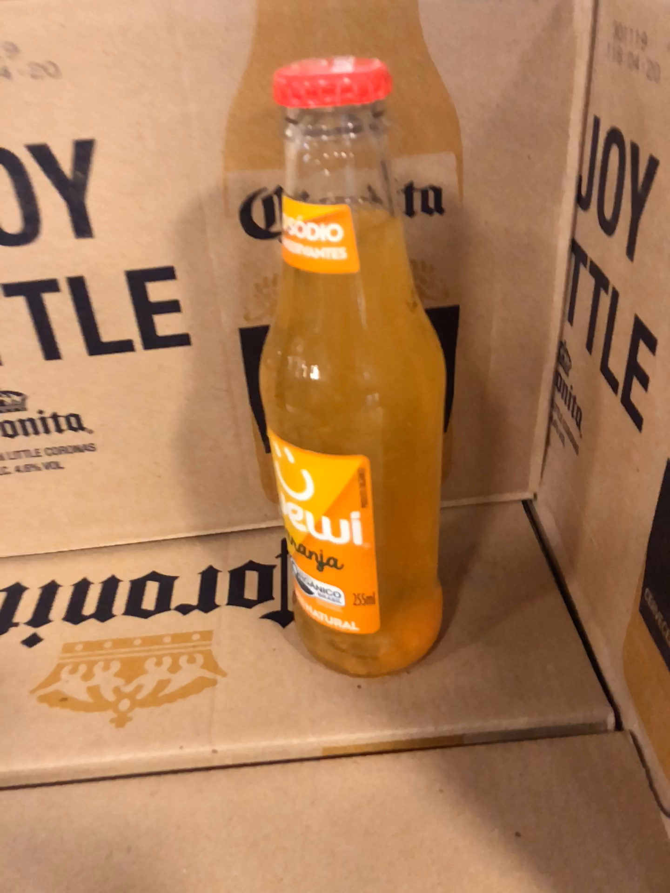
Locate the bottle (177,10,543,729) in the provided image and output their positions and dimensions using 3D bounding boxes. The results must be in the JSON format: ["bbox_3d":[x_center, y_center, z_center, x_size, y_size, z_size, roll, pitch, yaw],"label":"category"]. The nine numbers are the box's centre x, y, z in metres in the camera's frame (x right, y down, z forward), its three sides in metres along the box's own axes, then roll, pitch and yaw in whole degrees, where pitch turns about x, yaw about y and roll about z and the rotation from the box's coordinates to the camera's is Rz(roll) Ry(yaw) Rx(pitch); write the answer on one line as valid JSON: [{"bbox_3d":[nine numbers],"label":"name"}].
[{"bbox_3d":[0.011,-0.012,0.233,0.060,0.208,0.060,-3,35,2],"label":"bottle"}]
